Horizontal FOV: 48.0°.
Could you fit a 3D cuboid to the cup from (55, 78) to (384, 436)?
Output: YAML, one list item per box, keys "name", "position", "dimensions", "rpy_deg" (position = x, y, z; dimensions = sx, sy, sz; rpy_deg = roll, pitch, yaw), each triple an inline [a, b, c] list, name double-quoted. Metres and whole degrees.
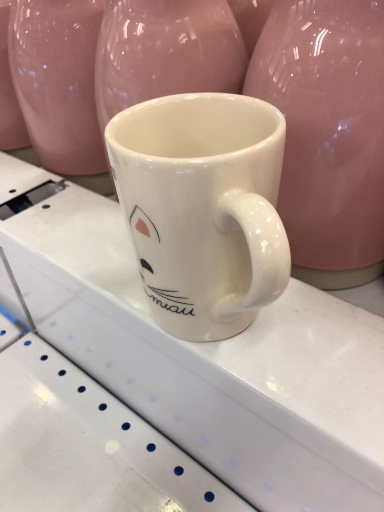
- name: "cup"
  position: [0.007, -0.009, 0.196]
  dimensions: [0.080, 0.099, 0.111]
  rpy_deg: [-24, 41, -23]
